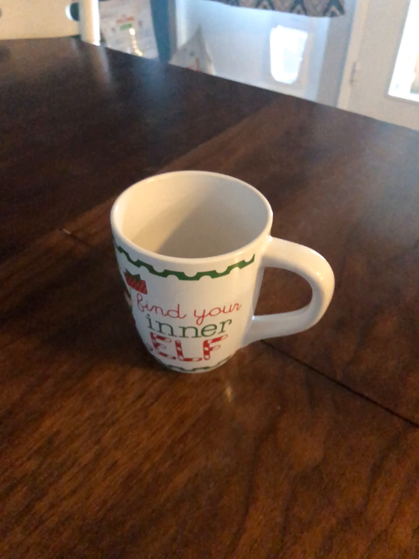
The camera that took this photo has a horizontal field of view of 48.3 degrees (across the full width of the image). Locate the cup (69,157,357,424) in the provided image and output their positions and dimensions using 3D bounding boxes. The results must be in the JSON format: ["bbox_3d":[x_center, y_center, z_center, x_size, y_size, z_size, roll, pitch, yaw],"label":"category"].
[{"bbox_3d":[0.007,0.002,0.346,0.160,0.120,0.110,15,43,16],"label":"cup"}]
